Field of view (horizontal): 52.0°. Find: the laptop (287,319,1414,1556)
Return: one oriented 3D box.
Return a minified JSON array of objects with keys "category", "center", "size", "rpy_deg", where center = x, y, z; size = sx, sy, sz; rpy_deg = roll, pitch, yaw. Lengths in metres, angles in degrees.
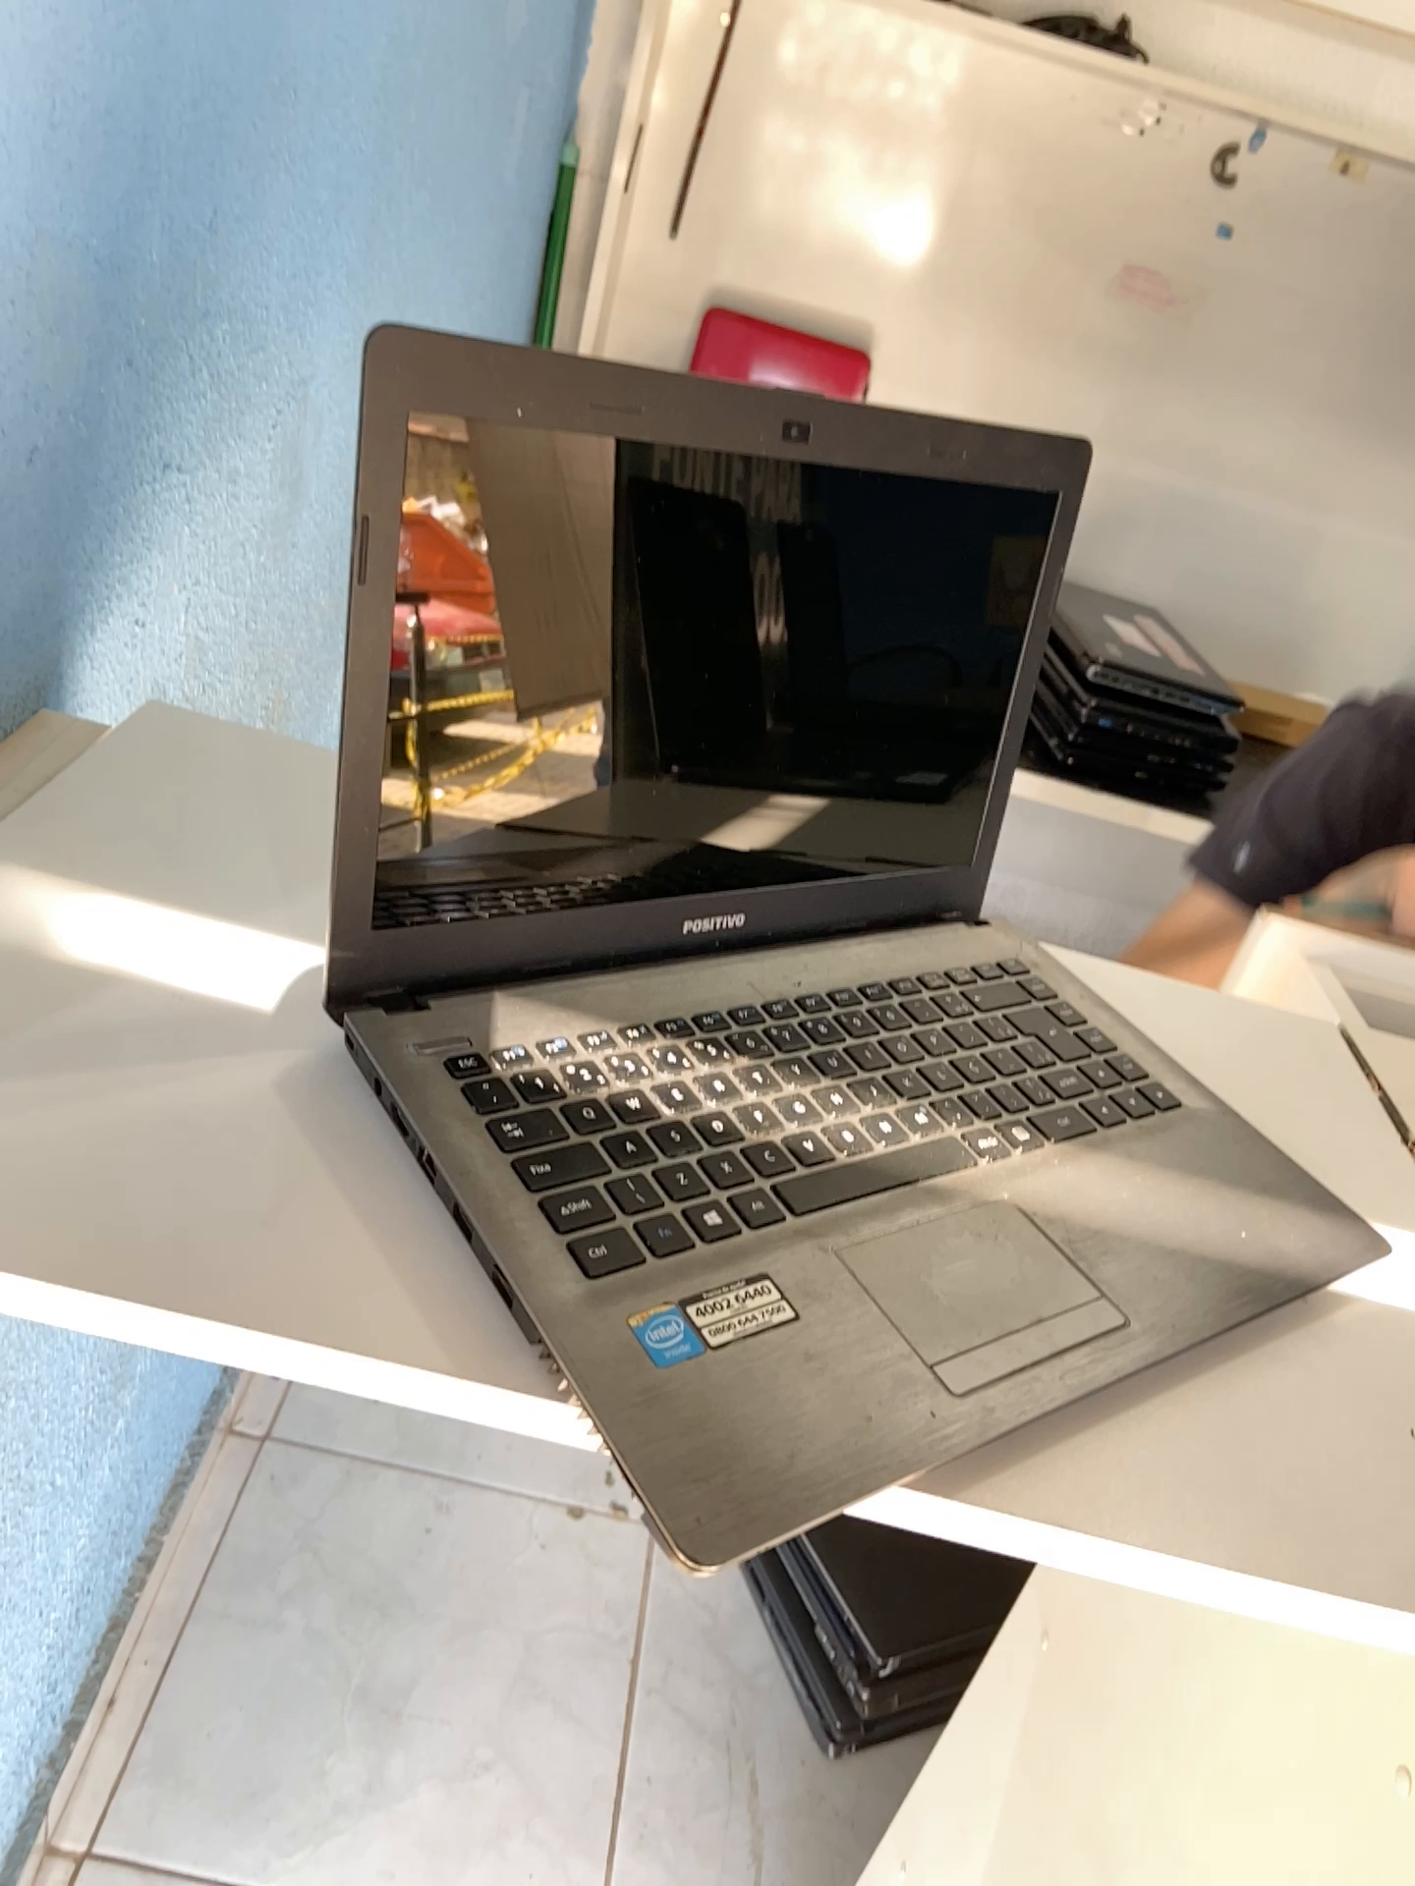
[{"category":"laptop","center":[0.079,-0.035,0.497],"size":[0.335,0.211,0.283],"rpy_deg":[-7,37,-36]}]
